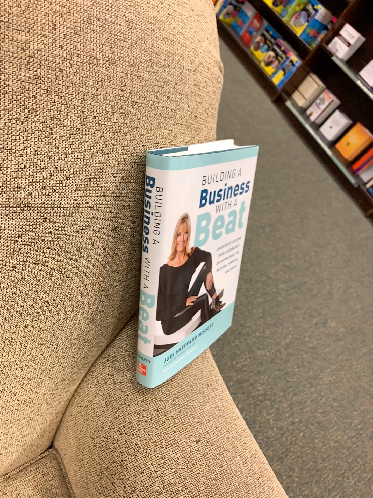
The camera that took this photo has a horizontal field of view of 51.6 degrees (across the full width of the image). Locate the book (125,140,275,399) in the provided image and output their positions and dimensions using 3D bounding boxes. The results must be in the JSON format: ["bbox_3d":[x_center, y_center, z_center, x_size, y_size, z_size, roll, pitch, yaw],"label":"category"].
[{"bbox_3d":[0.015,0.012,0.404,0.040,0.229,0.171,22,30,34],"label":"book"}]
